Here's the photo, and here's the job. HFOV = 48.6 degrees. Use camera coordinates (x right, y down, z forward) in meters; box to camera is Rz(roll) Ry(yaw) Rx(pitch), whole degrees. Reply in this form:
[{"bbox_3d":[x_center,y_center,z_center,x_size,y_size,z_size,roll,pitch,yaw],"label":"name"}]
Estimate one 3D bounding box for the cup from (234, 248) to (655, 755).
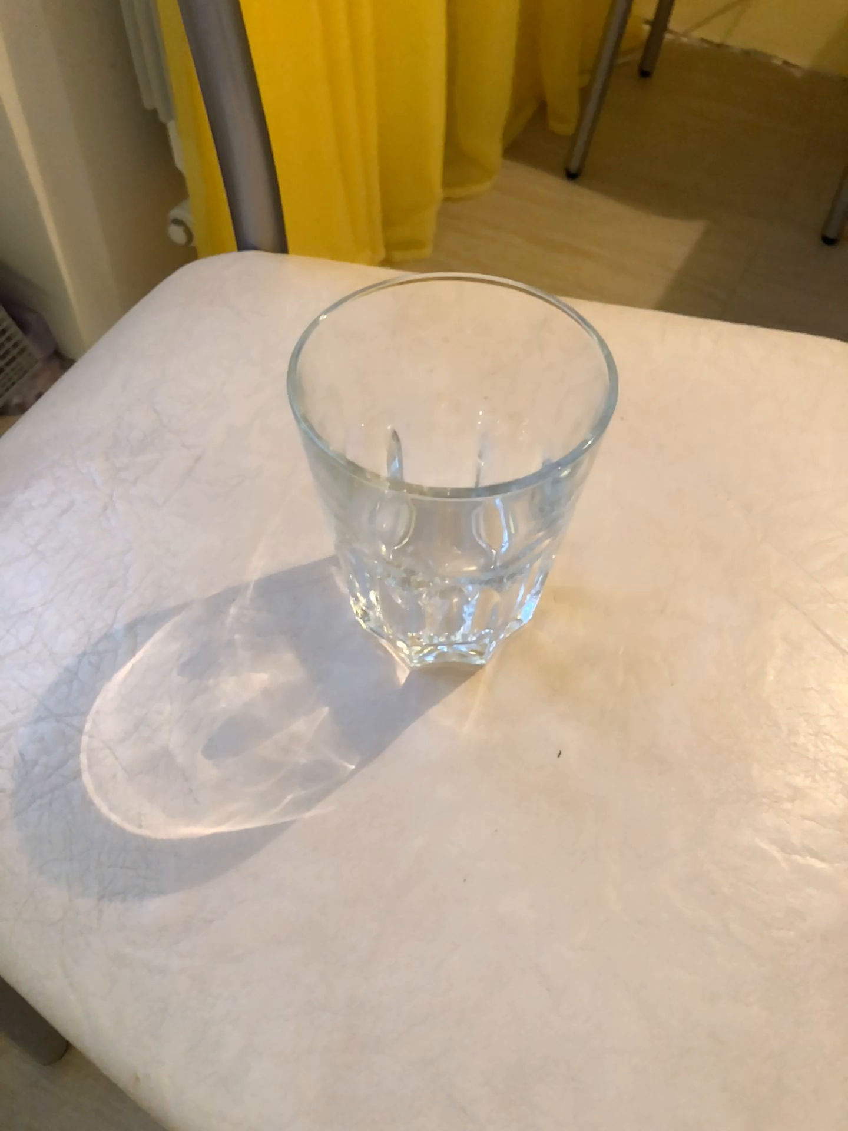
[{"bbox_3d":[0.007,-0.016,0.268,0.080,0.099,0.080,1,52,-1],"label":"cup"}]
